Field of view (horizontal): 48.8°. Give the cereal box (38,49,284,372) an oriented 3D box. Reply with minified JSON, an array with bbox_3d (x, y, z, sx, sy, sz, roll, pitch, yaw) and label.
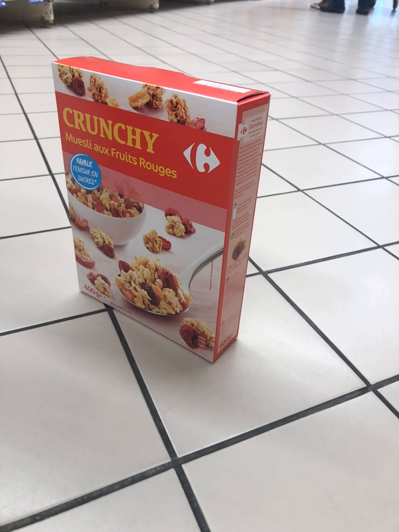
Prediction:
[{"bbox_3d":[-0.044,-0.052,0.414,0.200,0.248,0.060,23,38,27],"label":"cereal box"}]
